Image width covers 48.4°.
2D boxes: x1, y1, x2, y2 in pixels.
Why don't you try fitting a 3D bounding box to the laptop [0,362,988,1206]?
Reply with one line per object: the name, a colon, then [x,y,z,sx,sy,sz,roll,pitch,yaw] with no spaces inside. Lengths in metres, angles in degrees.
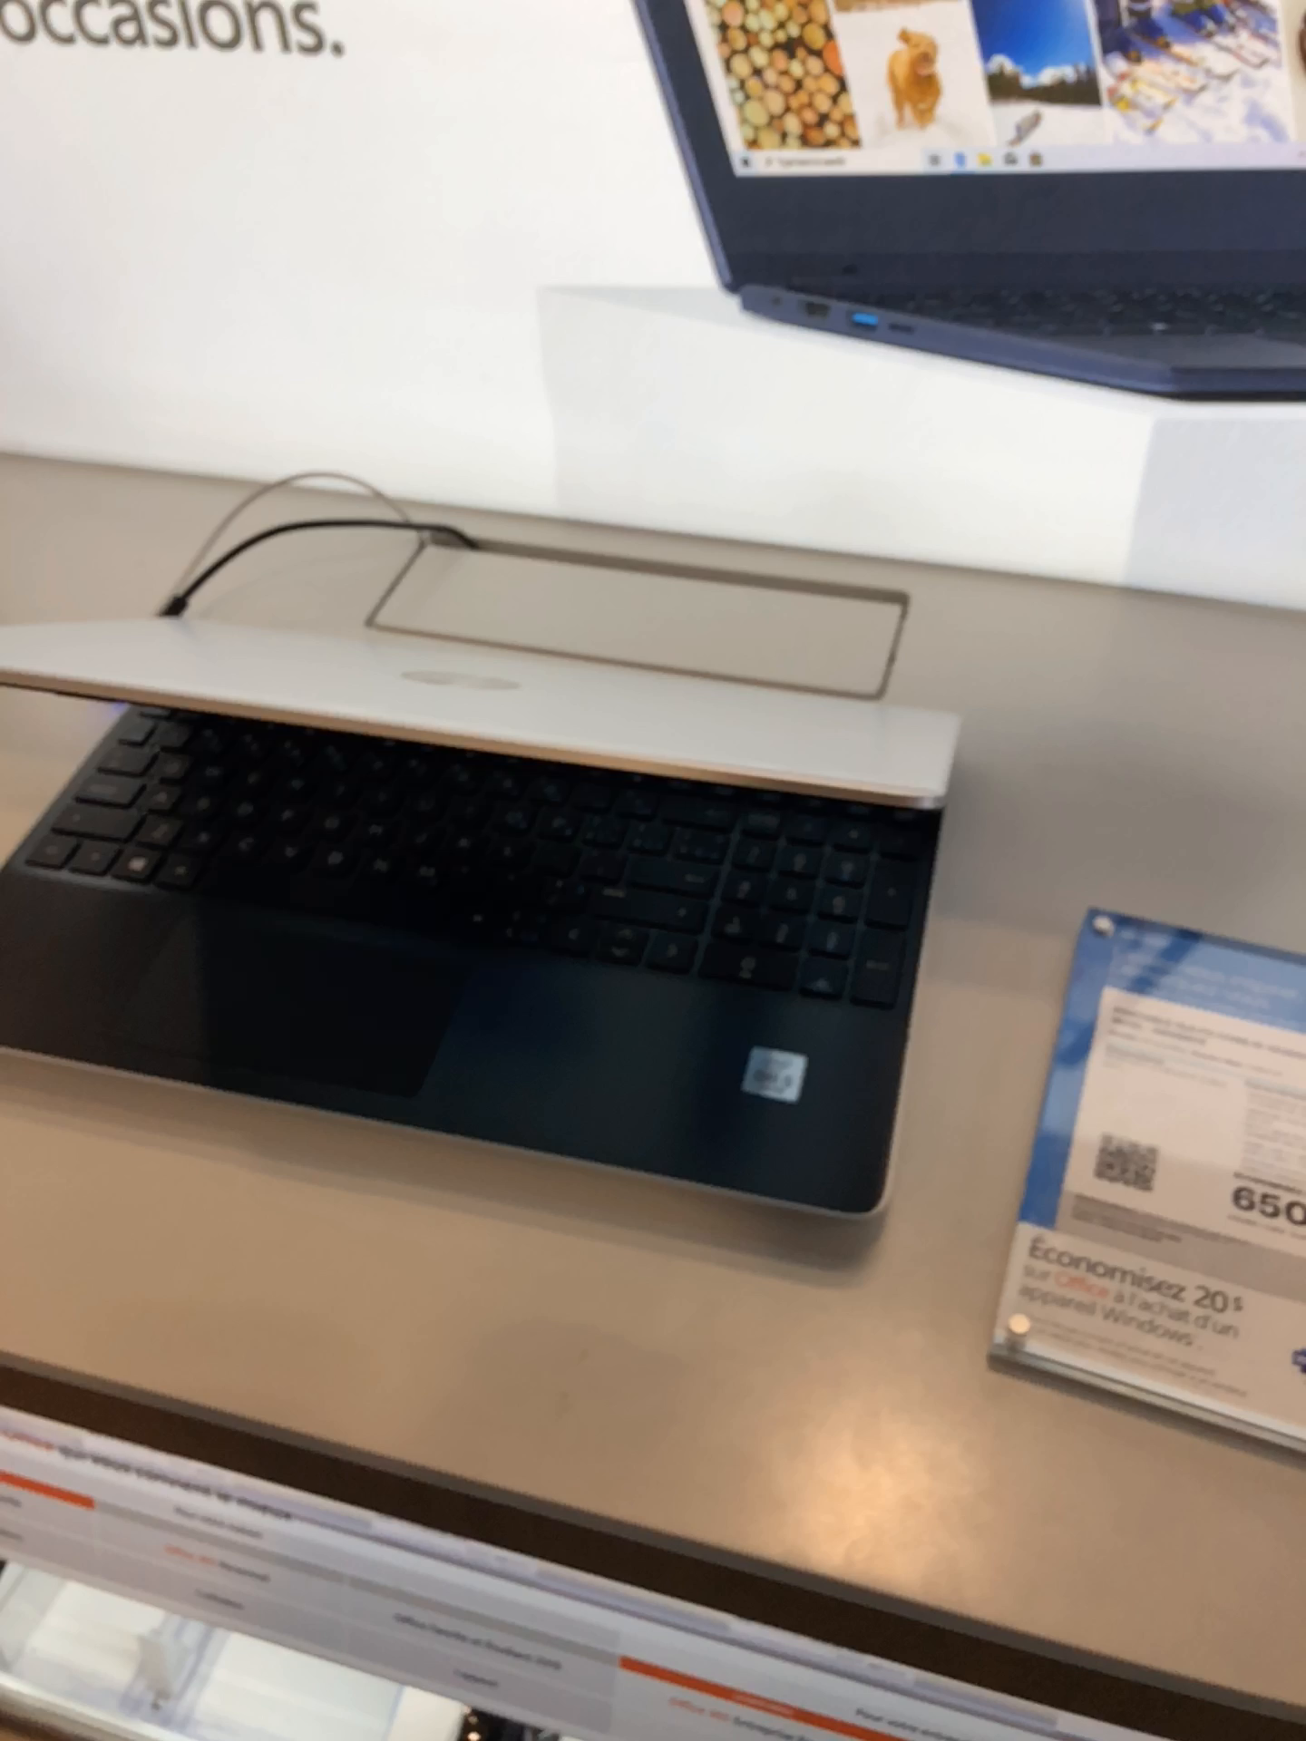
laptop: [-0.075,-0.051,0.510,0.346,0.131,0.230,9,46,12]
